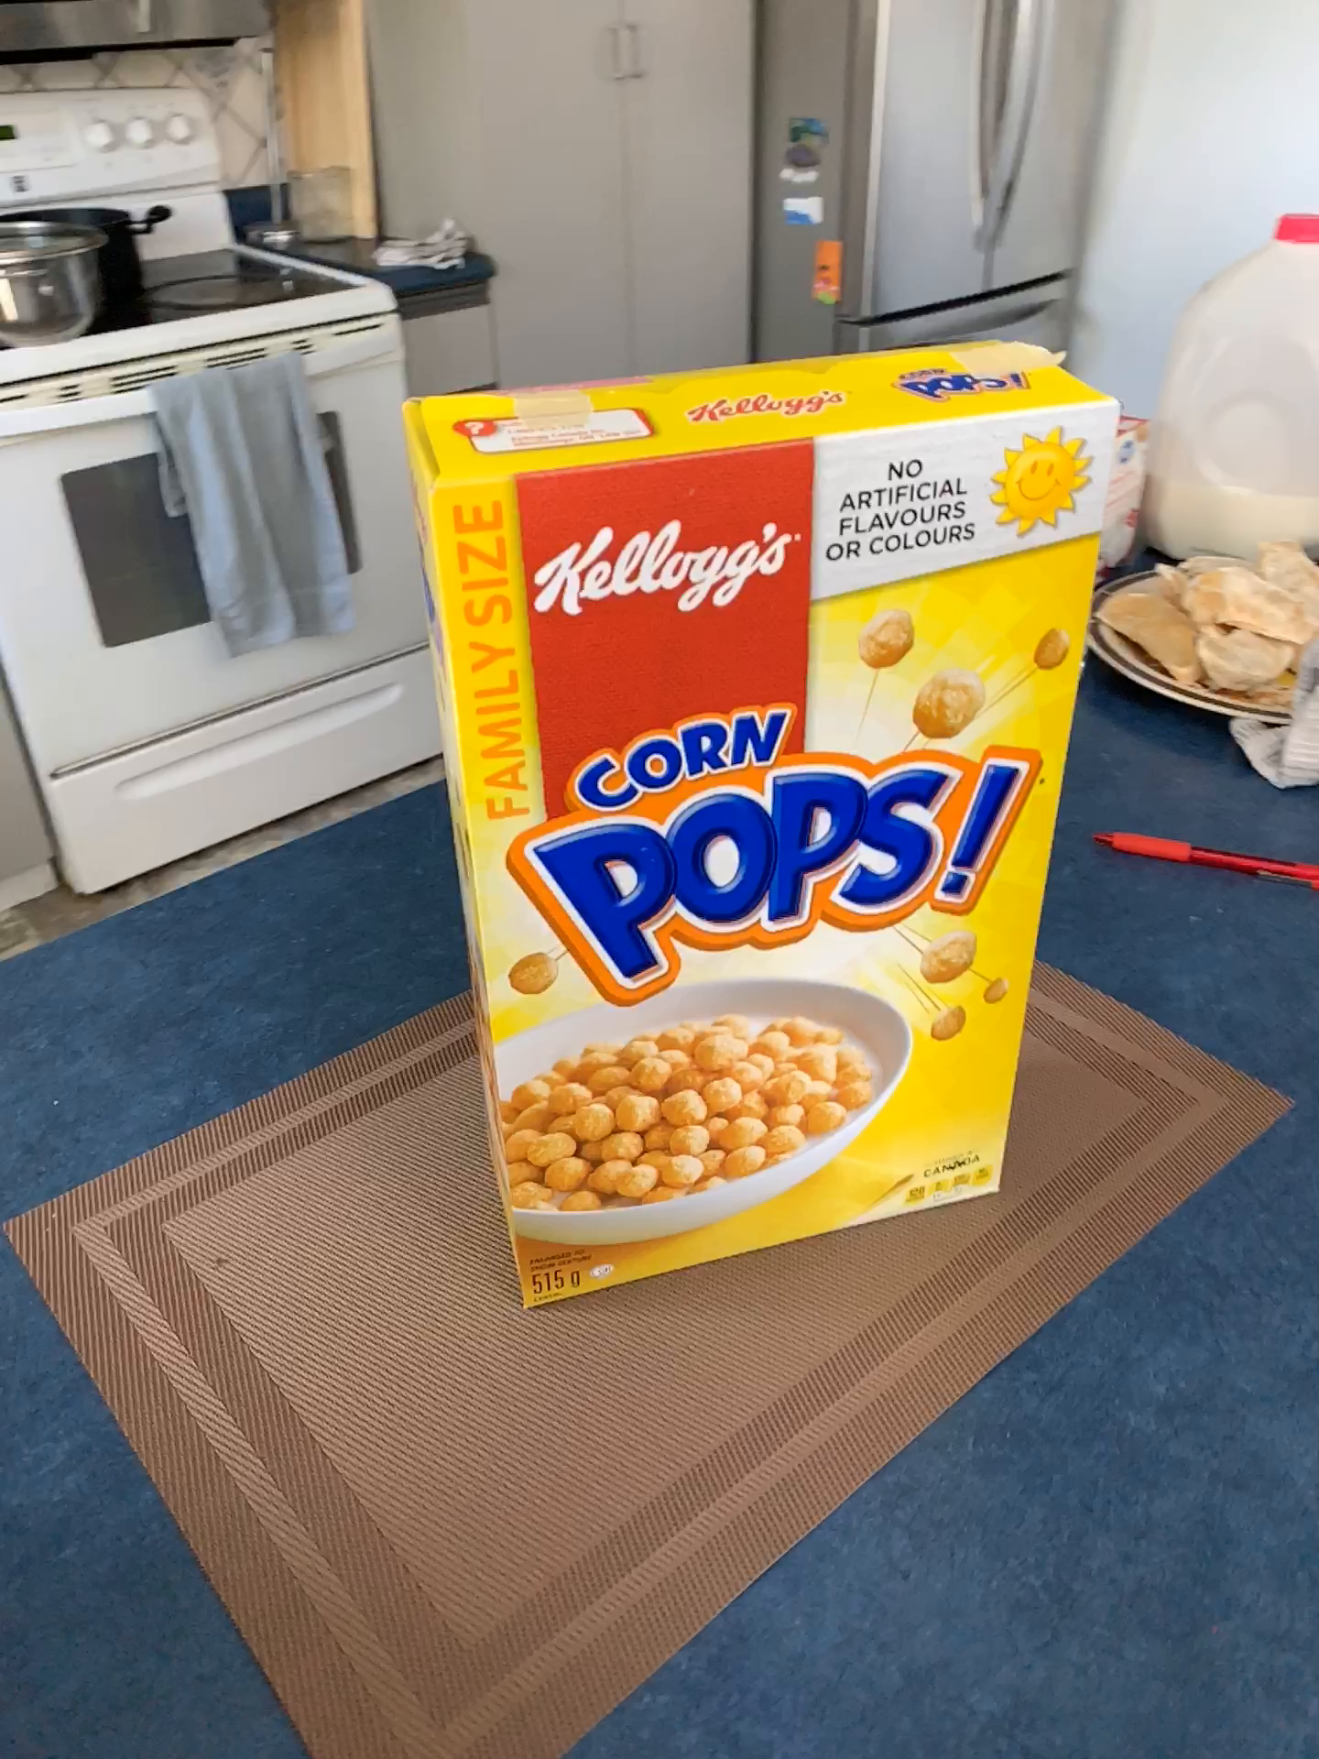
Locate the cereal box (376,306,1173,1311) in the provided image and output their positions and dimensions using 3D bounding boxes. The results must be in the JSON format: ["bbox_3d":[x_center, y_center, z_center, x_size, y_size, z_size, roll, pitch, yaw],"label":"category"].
[{"bbox_3d":[0.033,-0.015,0.474,0.210,0.317,0.091,-10,34,-13],"label":"cereal box"}]
